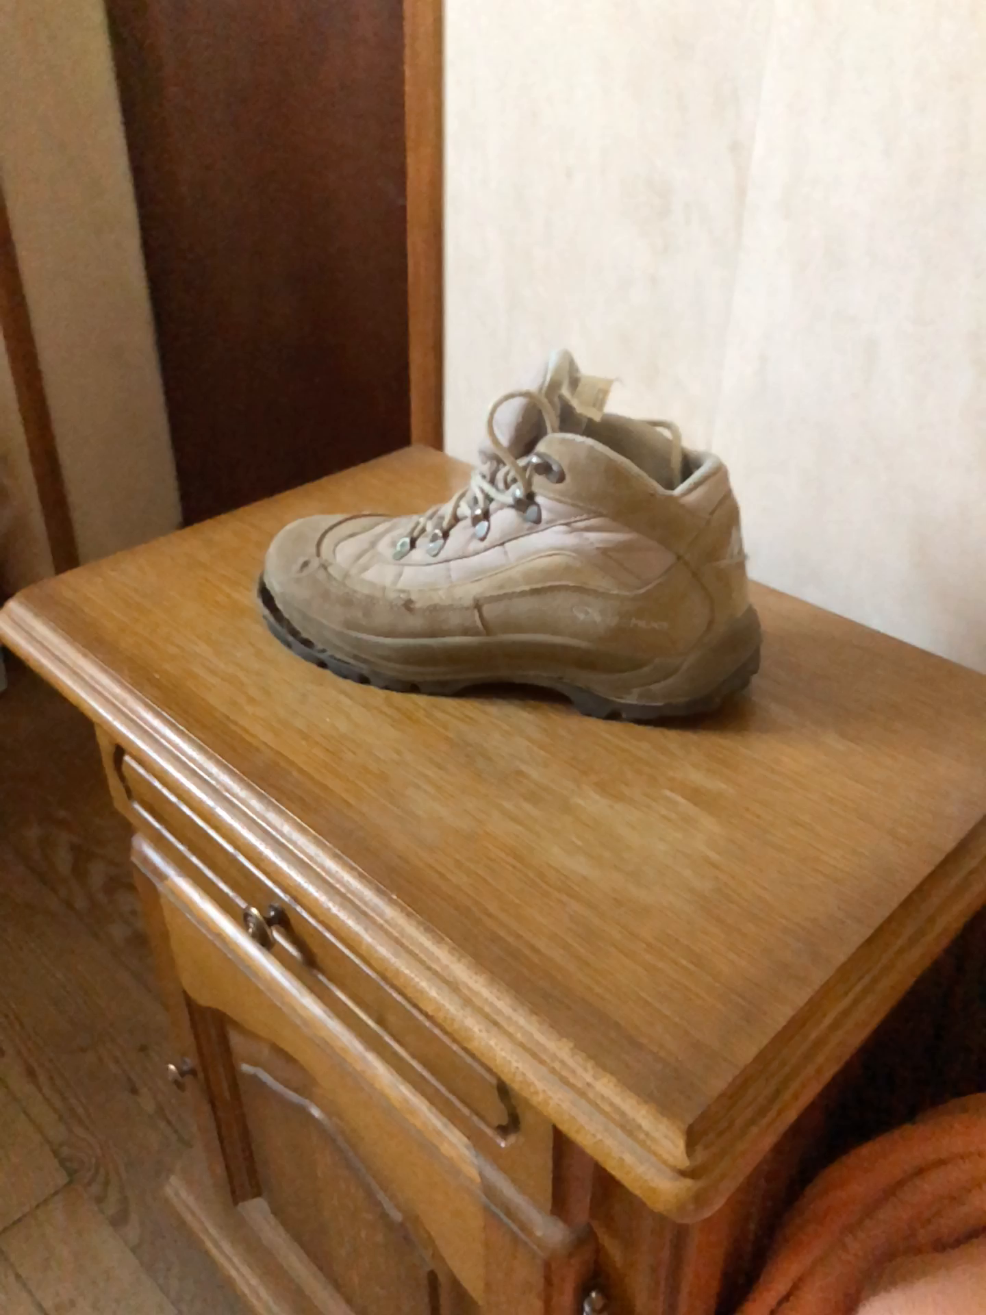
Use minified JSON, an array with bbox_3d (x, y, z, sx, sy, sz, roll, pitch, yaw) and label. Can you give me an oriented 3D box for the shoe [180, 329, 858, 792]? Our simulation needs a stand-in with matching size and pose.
[{"bbox_3d":[0.014,-0.060,0.544,0.290,0.139,0.131,12,35,17],"label":"shoe"}]
